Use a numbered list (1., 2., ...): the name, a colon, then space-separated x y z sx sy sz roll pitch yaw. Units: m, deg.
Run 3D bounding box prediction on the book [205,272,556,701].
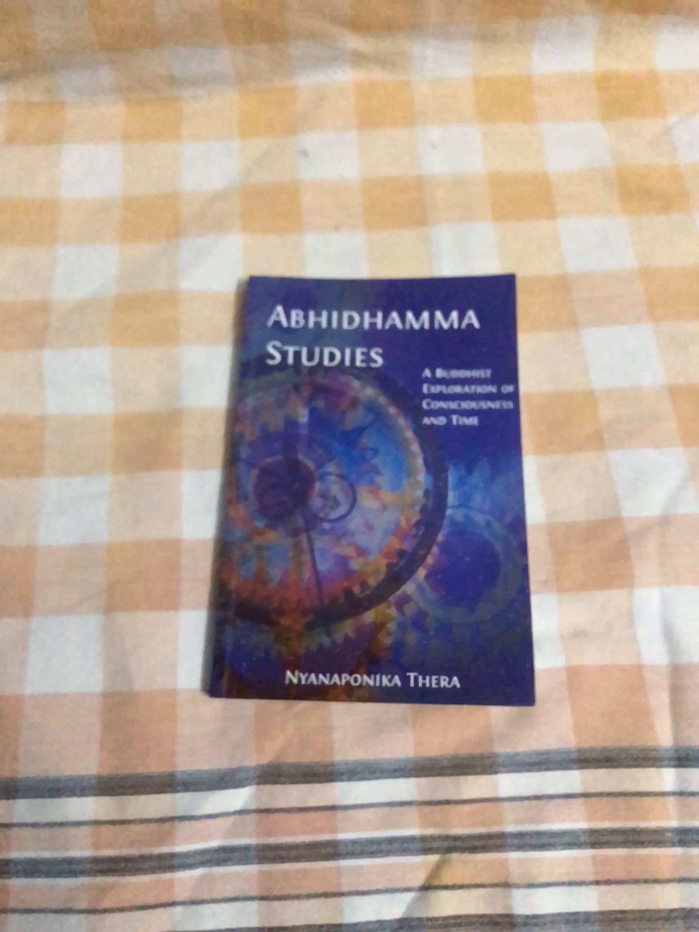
1. book: 0.016 0.002 0.380 0.150 0.020 0.210 1 70 1
